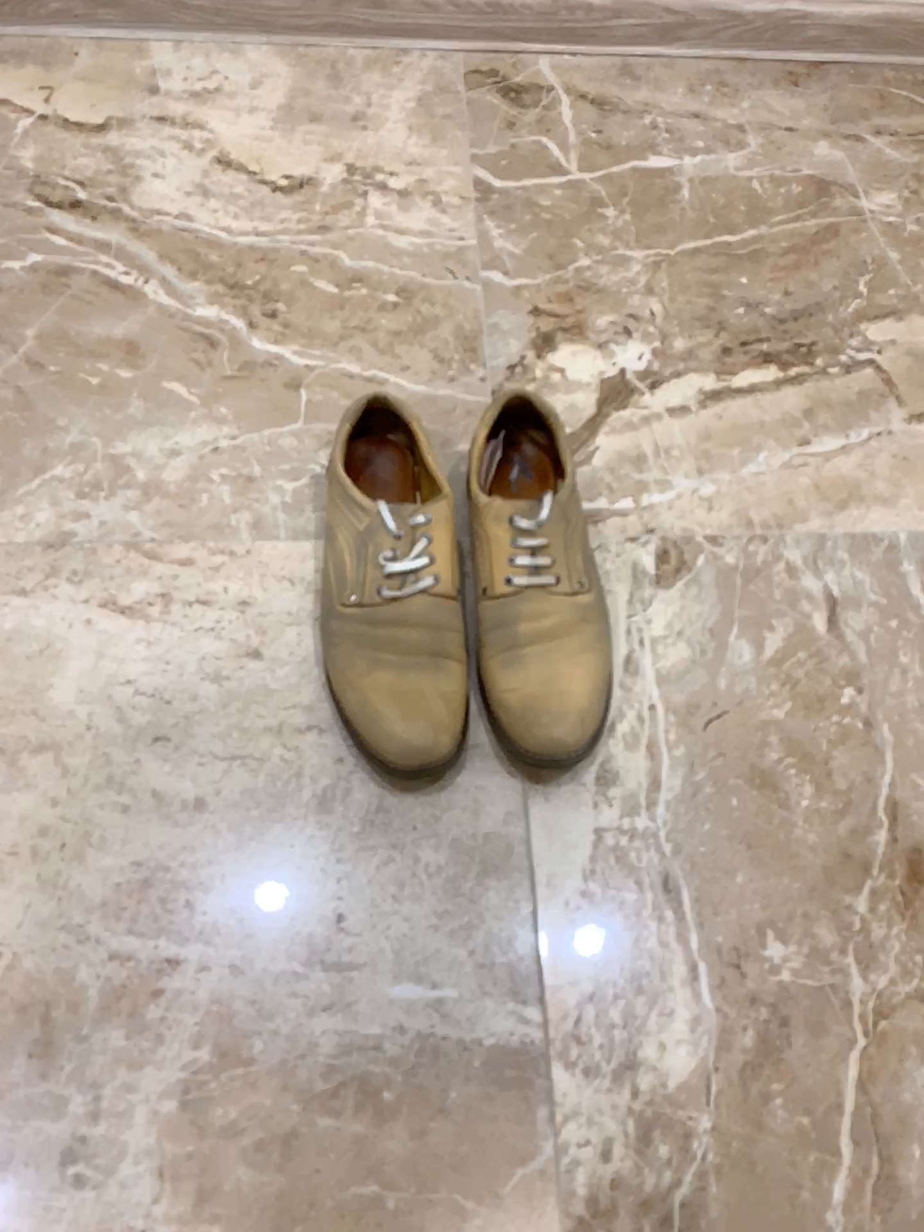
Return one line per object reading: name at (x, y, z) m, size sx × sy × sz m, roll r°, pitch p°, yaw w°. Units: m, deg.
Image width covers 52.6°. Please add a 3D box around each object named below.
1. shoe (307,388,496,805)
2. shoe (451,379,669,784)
shoe at (-0.048, -0.019, 0.652) m, size 0.110 × 0.080 × 0.281 m, roll -2°, pitch 66°, yaw -6°
shoe at (0.059, -0.031, 0.659) m, size 0.110 × 0.070 × 0.281 m, roll -2°, pitch 66°, yaw -6°
